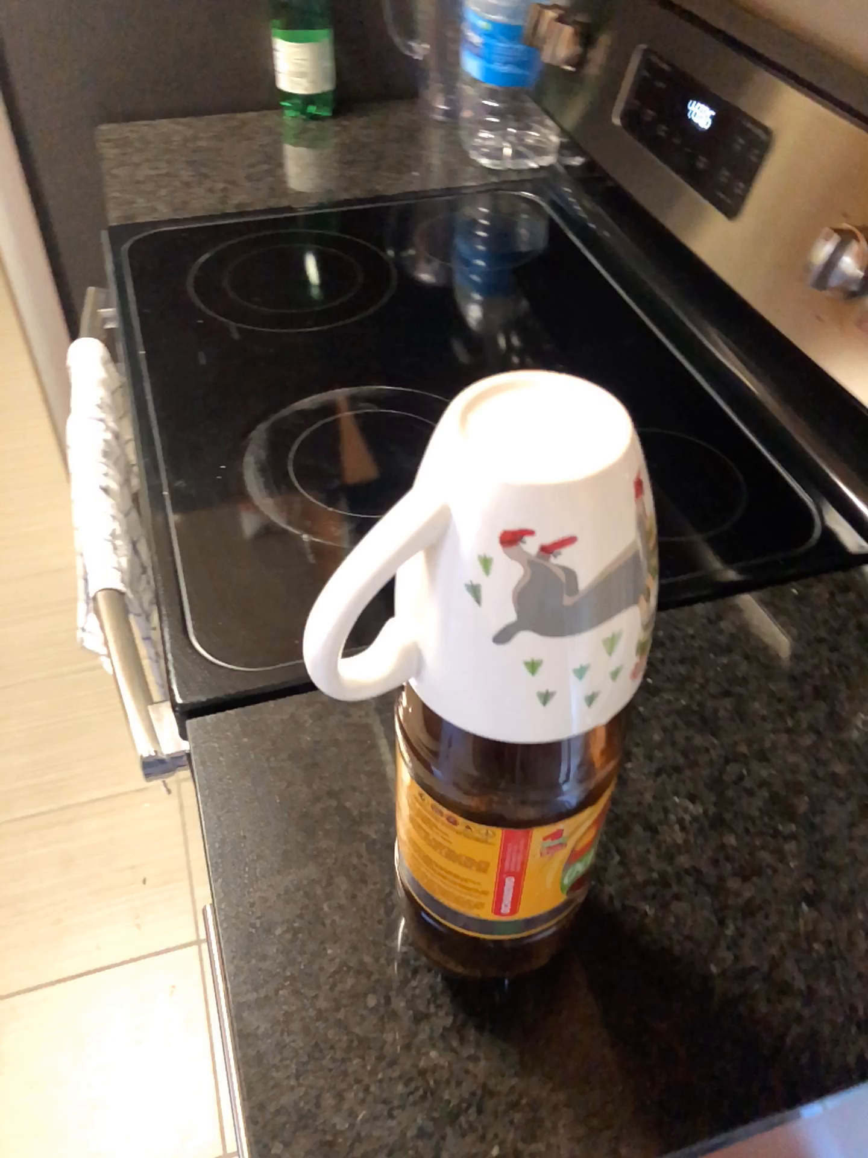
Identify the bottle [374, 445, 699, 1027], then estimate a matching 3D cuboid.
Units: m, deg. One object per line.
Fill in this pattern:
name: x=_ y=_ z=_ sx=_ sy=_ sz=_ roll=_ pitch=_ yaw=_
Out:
bottle: x=0.038 y=0.089 z=0.443 sx=0.100 sy=0.279 sz=0.100 roll=1 pitch=45 yaw=-1
